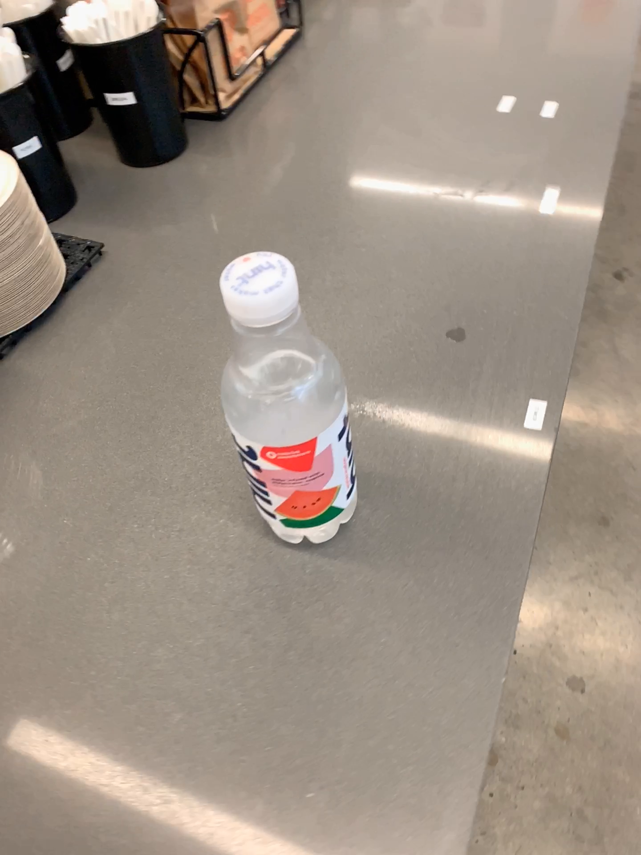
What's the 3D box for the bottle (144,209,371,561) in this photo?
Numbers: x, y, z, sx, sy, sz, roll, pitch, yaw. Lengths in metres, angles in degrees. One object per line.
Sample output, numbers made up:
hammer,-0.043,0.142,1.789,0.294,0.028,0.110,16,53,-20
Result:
bottle,-0.020,-0.010,0.364,0.070,0.199,0.070,-4,52,5
